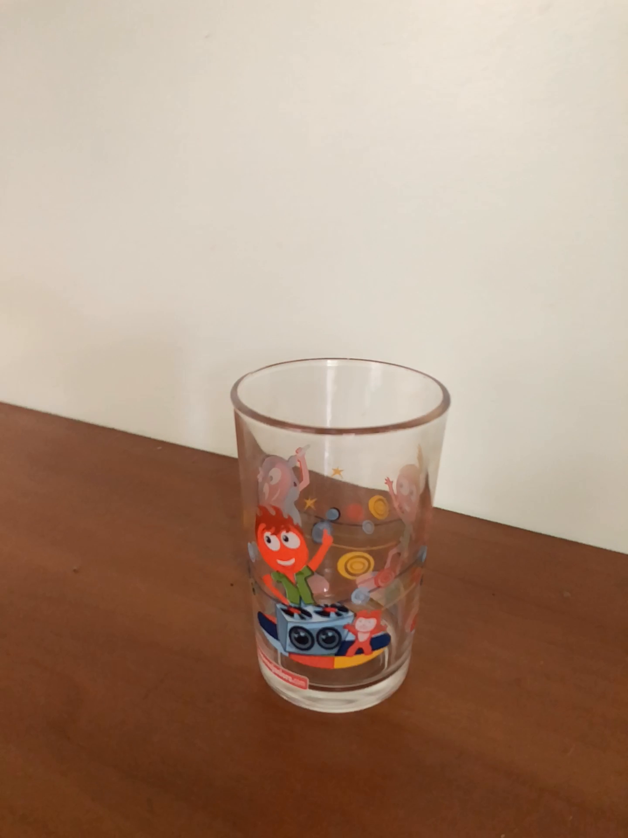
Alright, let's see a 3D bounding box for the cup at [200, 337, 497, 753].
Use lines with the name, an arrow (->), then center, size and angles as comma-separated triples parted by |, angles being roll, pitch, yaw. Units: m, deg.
cup -> 0.014, 0.034, 0.227 | 0.070, 0.100, 0.070 | 1, 21, 0
